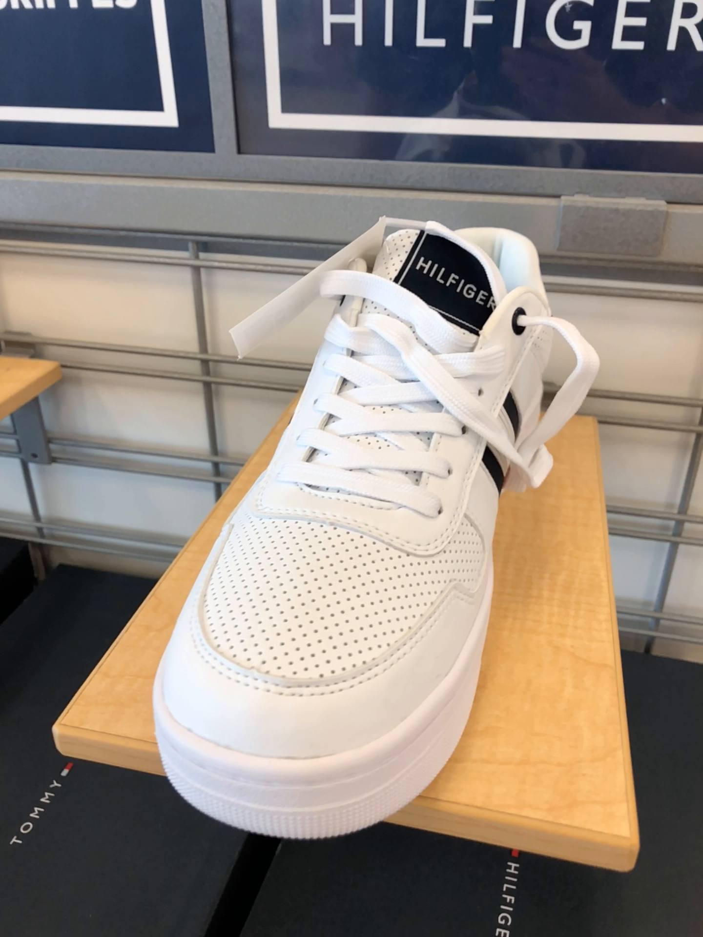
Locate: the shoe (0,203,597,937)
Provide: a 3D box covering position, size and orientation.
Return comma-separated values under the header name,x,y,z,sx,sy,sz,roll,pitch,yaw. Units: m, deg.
name,x,y,z,sx,sy,sz,roll,pitch,yaw
shoe,0.018,-0.011,0.291,0.107,0.113,0.282,10,30,17
